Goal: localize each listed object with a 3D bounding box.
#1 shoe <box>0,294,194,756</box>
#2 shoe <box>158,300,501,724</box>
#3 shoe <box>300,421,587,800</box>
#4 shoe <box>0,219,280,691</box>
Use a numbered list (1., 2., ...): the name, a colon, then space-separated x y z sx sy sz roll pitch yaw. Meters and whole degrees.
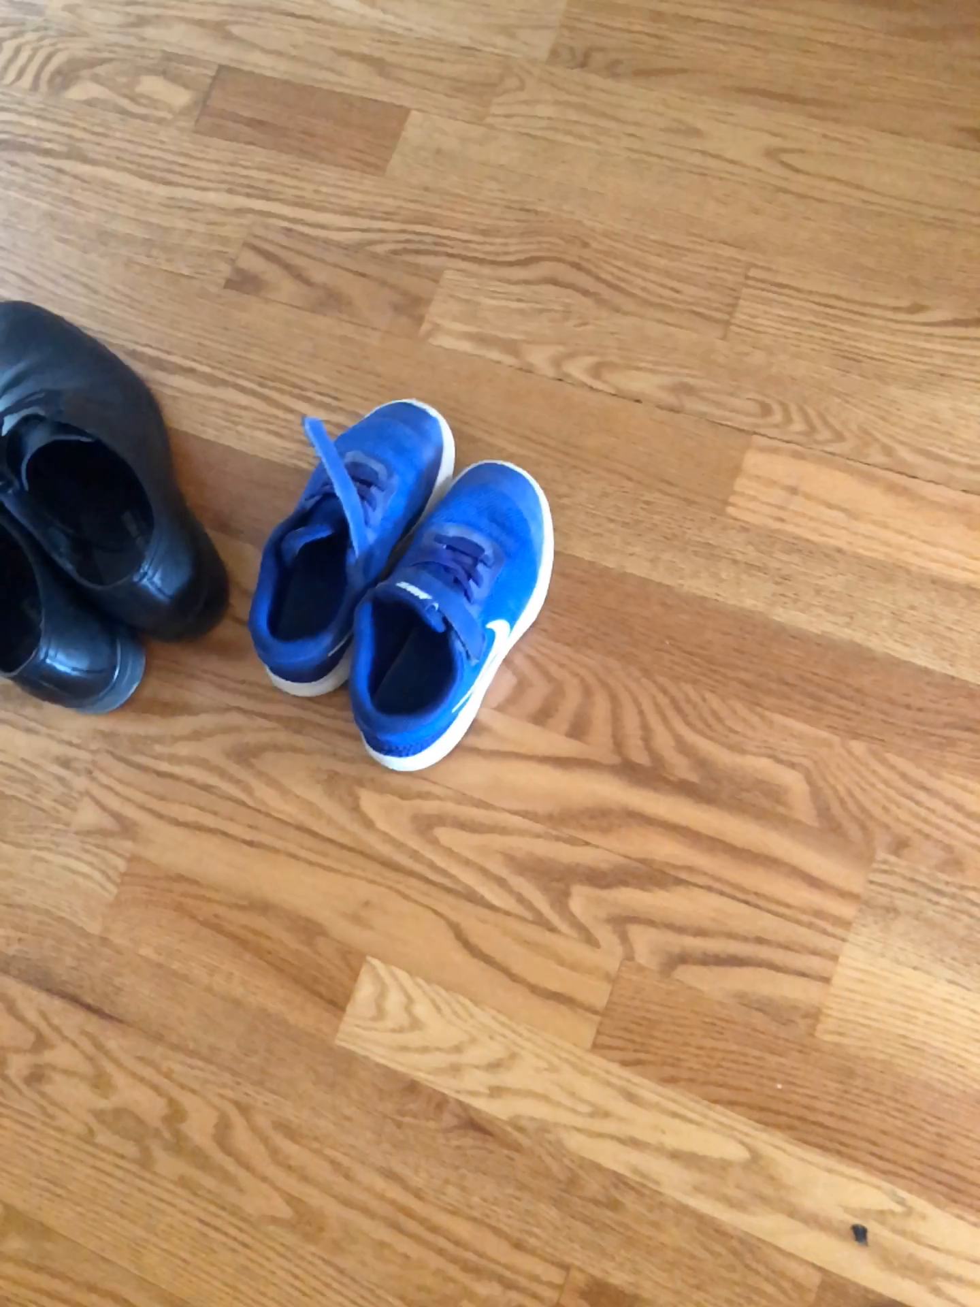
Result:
1. shoe: -0.364 -0.093 0.768 0.120 0.090 0.320 -40 73 0
2. shoe: -0.097 -0.087 0.714 0.100 0.130 0.230 23 83 15
3. shoe: -0.026 -0.027 0.709 0.100 0.070 0.220 20 82 15
4. shoe: -0.296 -0.143 0.771 0.120 0.090 0.320 -36 74 2
